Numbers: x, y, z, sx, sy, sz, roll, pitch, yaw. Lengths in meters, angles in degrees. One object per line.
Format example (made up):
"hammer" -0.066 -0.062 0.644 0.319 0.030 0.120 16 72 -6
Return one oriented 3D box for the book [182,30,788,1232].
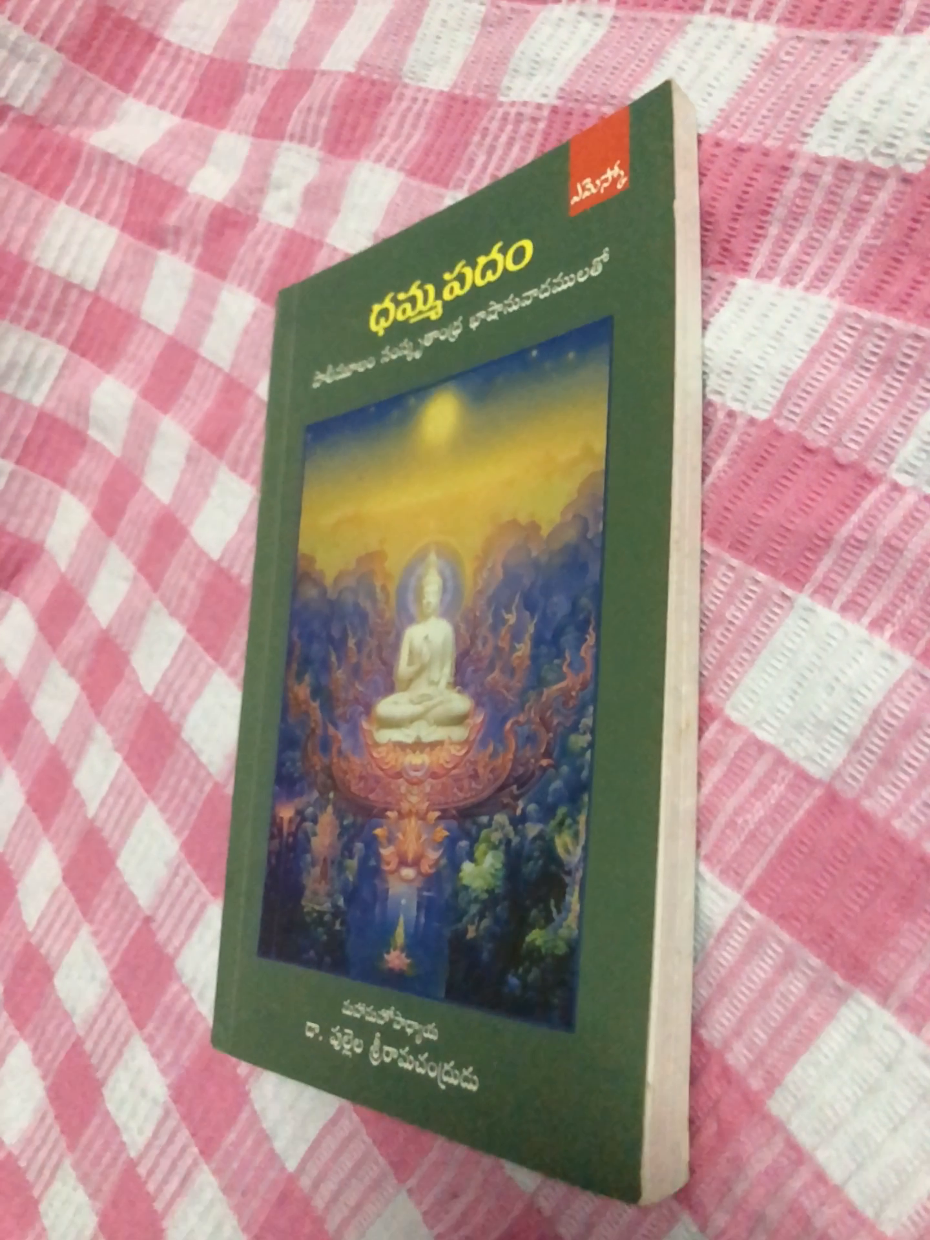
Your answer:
"book" -0.001 -0.002 0.223 0.141 0.020 0.200 -8 73 42
